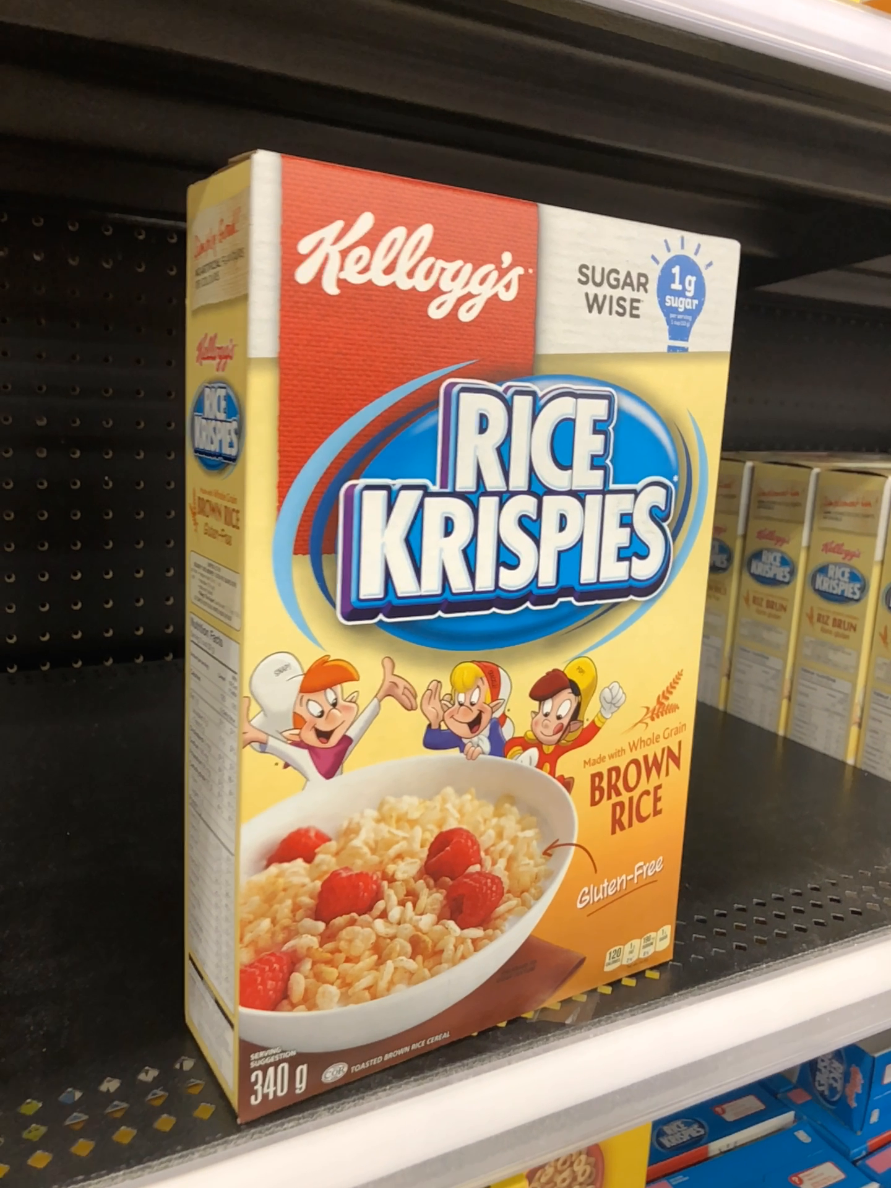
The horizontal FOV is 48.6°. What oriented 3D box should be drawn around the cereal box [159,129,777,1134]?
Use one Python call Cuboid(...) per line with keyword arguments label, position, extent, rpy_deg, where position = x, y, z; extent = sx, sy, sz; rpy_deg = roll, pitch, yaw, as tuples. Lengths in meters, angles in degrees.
Cuboid(label="cereal box", position=(0.010, 0.011, 0.358), extent=(0.210, 0.289, 0.060), rpy_deg=(-4, 13, -33))
